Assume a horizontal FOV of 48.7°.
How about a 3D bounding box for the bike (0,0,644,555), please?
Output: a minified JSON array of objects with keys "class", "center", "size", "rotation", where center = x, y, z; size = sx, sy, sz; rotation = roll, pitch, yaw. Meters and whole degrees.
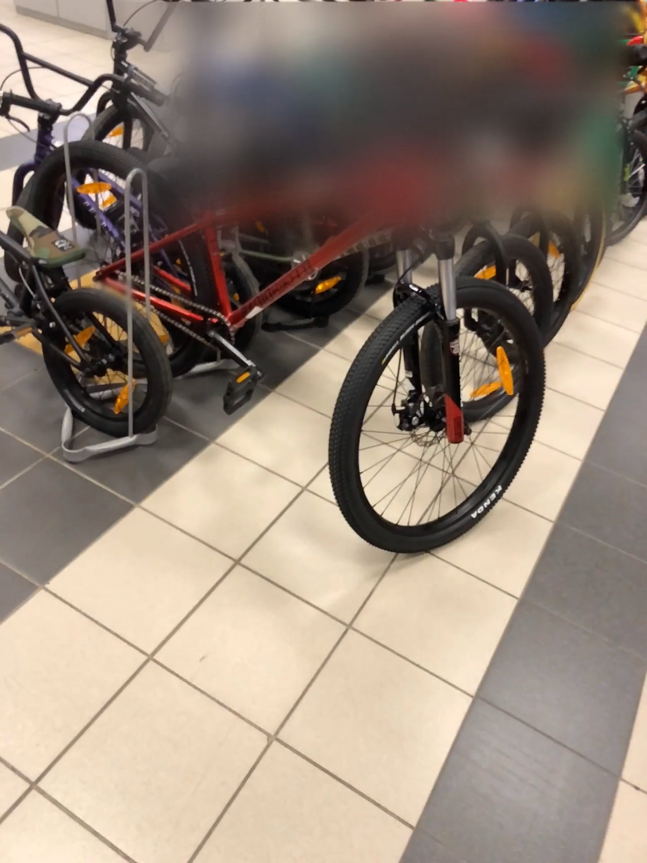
[{"class":"bike","center":[-0.171,-0.481,1.716],"size":[1.337,0.997,0.715],"rotation":[19,39,13]}]
